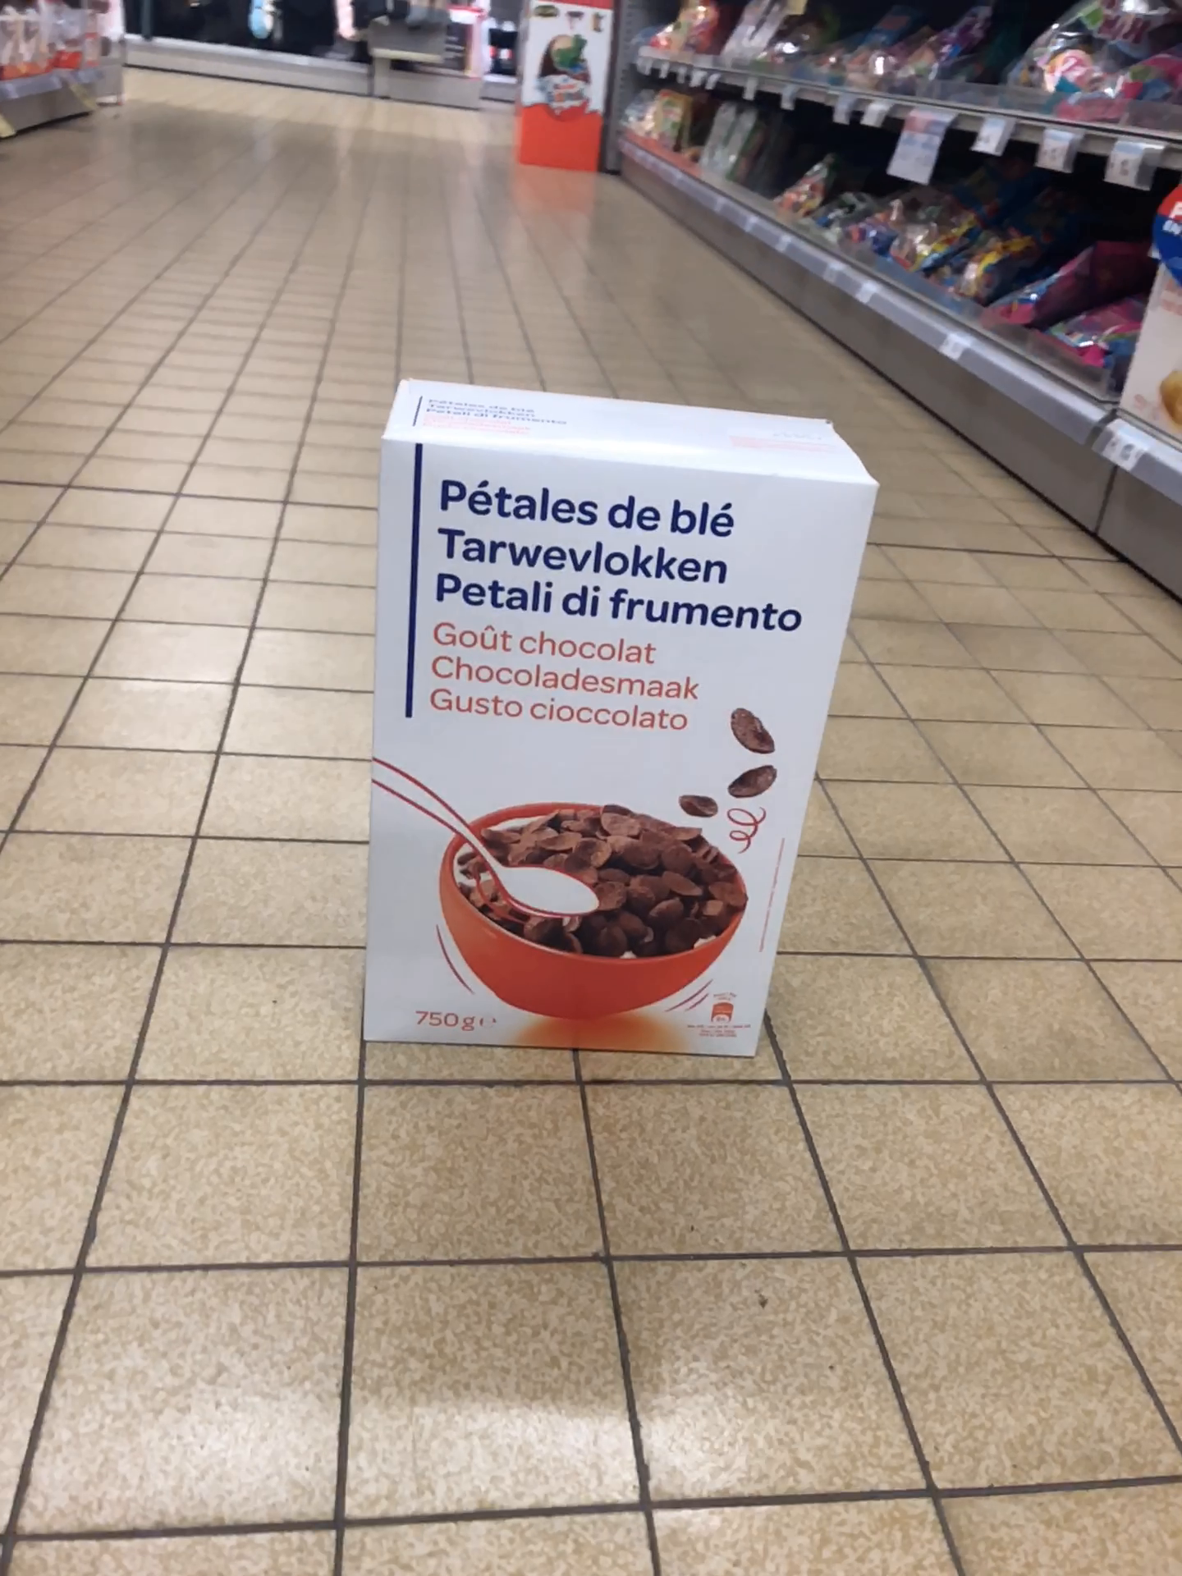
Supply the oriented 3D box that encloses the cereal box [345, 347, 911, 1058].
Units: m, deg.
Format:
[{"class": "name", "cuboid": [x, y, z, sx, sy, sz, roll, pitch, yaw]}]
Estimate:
[{"class": "cereal box", "cuboid": [0.000, -0.028, 0.582, 0.200, 0.288, 0.101, 4, 29, -7]}]
